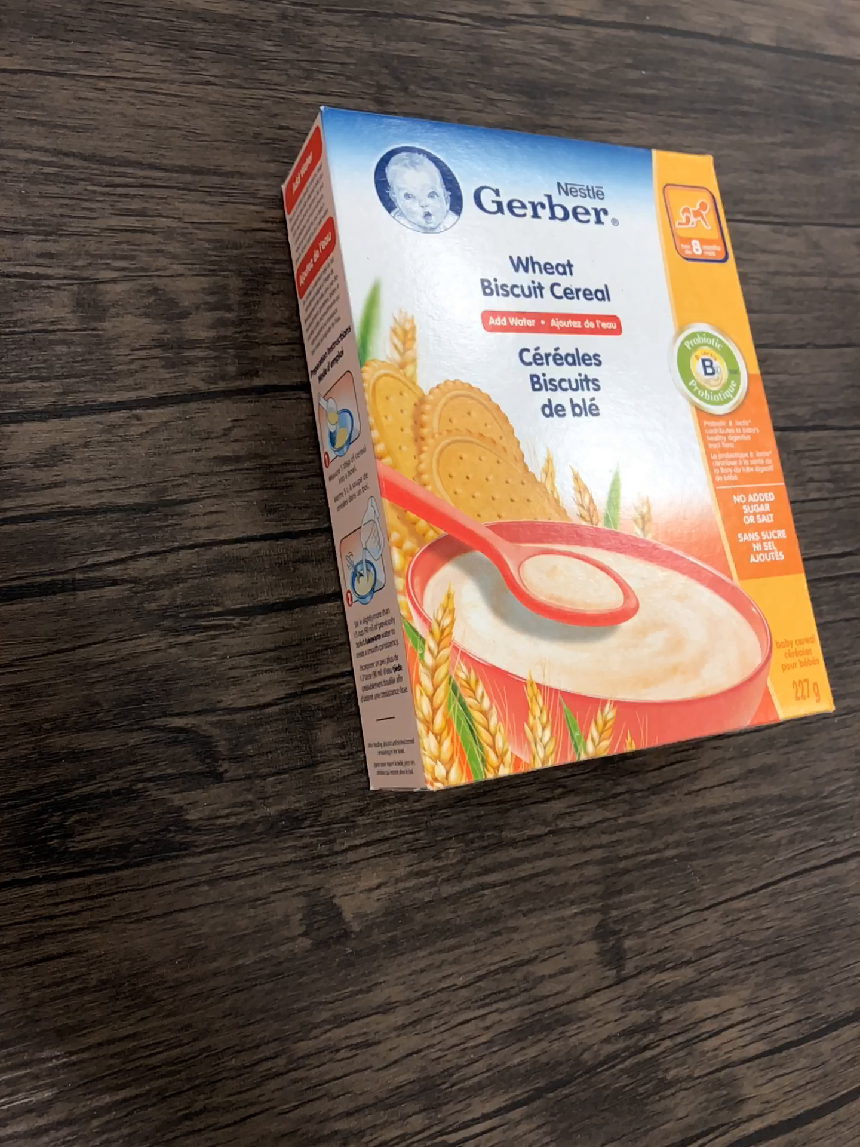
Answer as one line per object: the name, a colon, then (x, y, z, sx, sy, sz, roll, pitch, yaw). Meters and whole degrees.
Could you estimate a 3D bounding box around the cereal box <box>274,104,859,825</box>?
cereal box: (0.049, -0.034, 0.283, 0.160, 0.040, 0.180, -5, 81, -25)
